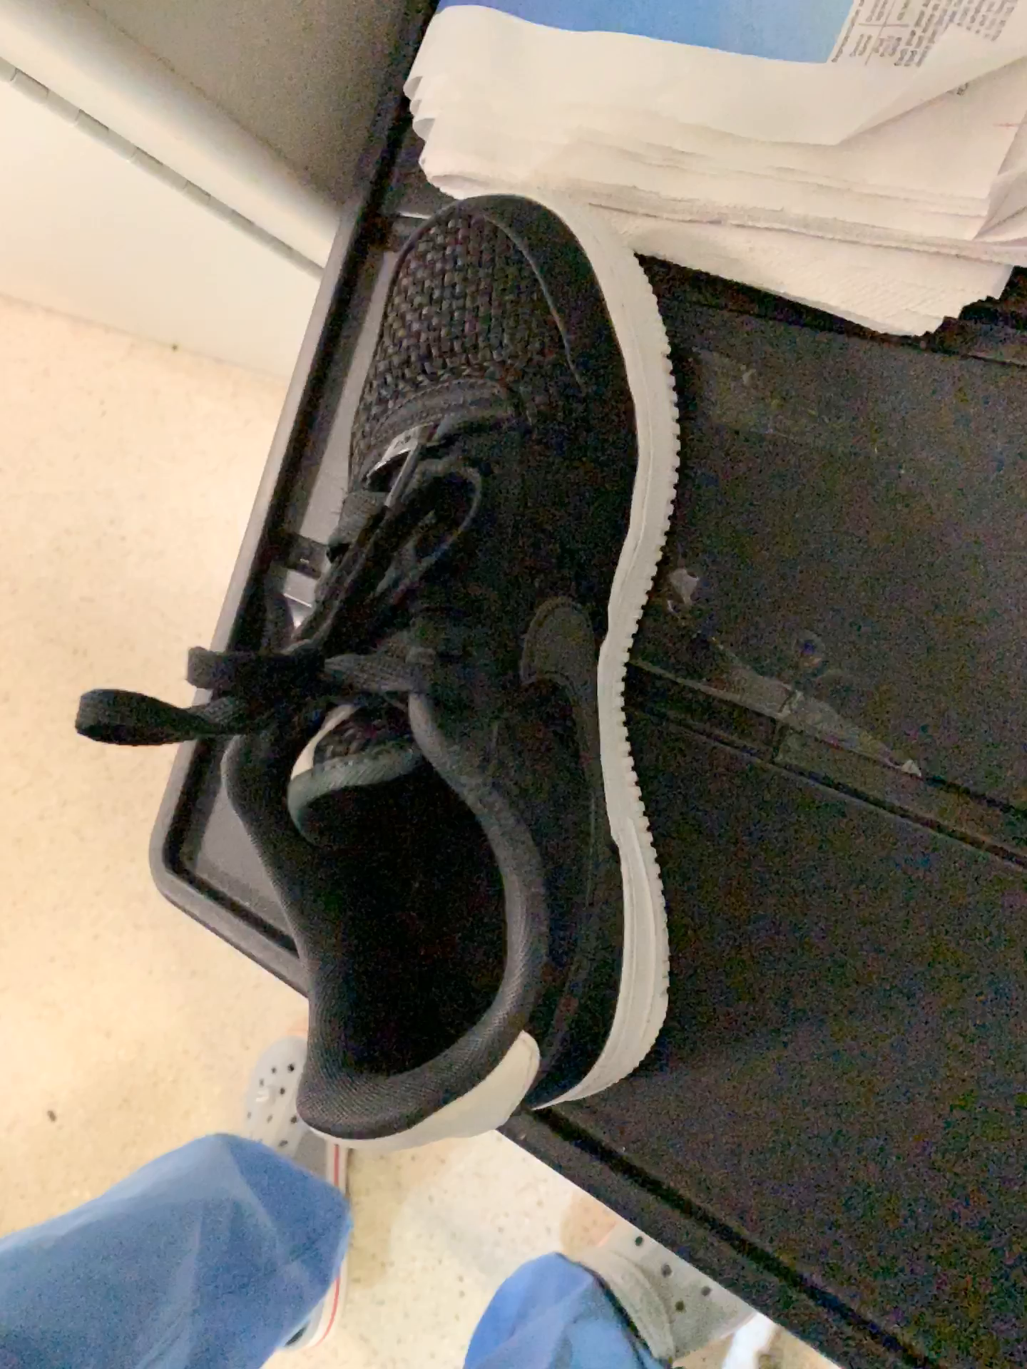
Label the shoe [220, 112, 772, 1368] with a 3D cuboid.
[{"bbox_3d":[-0.002,0.010,0.250,0.090,0.094,0.225,-5,83,28],"label":"shoe"}]
